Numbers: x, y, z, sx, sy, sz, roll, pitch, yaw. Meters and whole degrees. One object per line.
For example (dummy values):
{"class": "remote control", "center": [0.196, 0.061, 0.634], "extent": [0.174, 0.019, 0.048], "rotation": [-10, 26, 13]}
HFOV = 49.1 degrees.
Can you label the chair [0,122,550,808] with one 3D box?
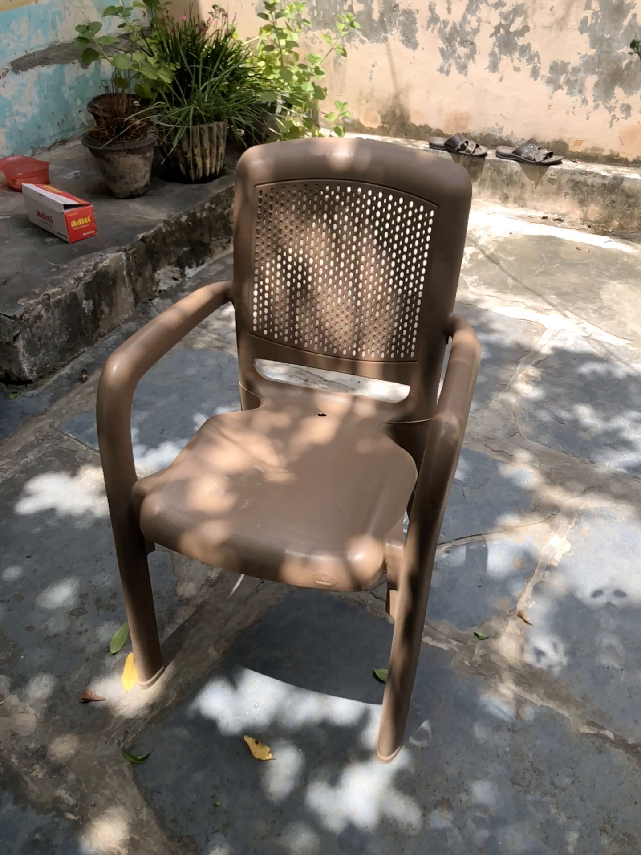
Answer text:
{"class": "chair", "center": [-0.039, 0.022, 1.215], "extent": [0.630, 0.826, 0.684], "rotation": [12, 40, 17]}
